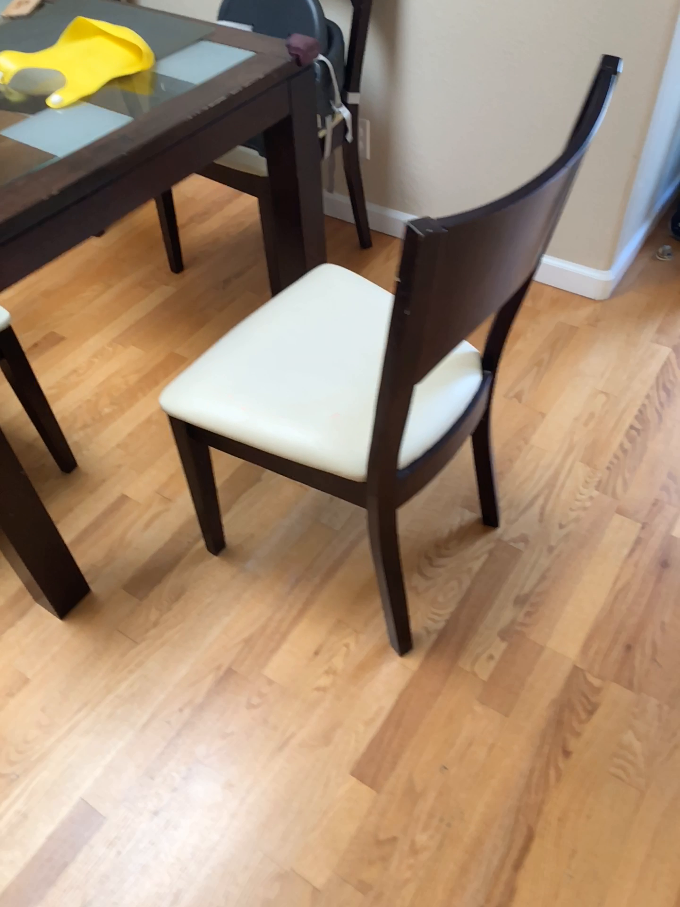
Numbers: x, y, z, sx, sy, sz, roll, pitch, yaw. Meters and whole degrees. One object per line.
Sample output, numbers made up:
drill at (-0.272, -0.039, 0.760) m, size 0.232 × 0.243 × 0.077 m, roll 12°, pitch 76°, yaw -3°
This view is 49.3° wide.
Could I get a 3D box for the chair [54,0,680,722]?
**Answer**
chair at (0.074, -0.133, 1.289) m, size 0.591 × 0.995 × 0.562 m, roll 28°, pitch 54°, yaw 26°
